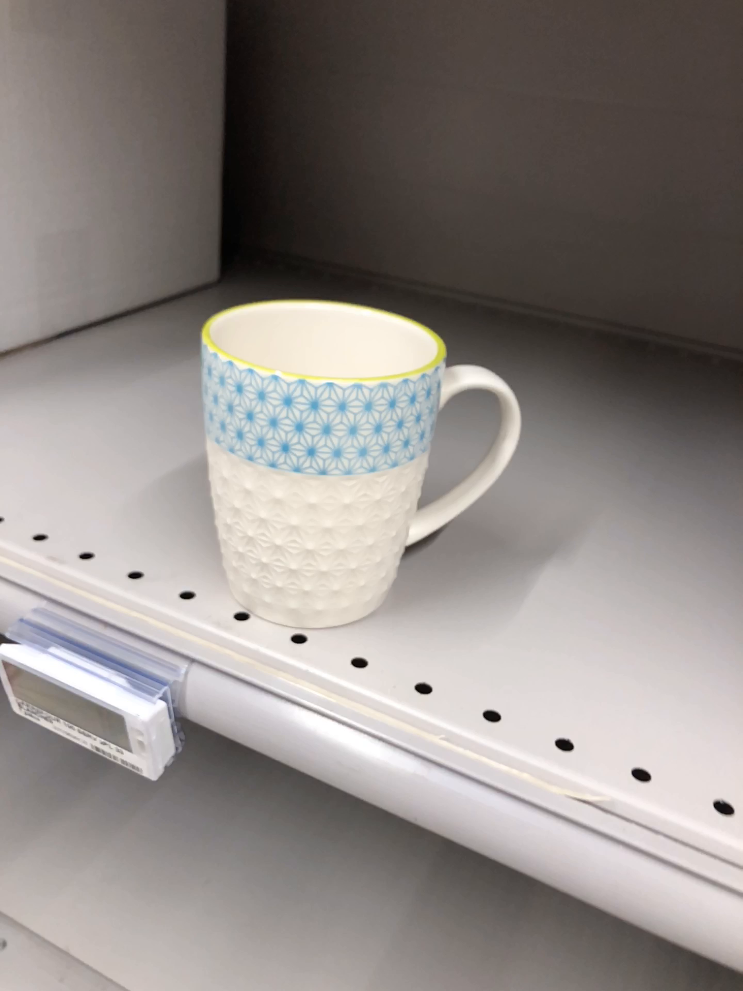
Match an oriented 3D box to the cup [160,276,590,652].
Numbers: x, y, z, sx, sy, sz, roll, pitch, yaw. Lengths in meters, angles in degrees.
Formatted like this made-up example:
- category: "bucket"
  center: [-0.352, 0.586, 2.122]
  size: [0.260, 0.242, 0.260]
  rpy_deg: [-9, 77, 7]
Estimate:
- category: "cup"
  center: [-0.006, -0.021, 0.307]
  size: [0.119, 0.091, 0.098]
  rpy_deg: [-8, 31, -23]
